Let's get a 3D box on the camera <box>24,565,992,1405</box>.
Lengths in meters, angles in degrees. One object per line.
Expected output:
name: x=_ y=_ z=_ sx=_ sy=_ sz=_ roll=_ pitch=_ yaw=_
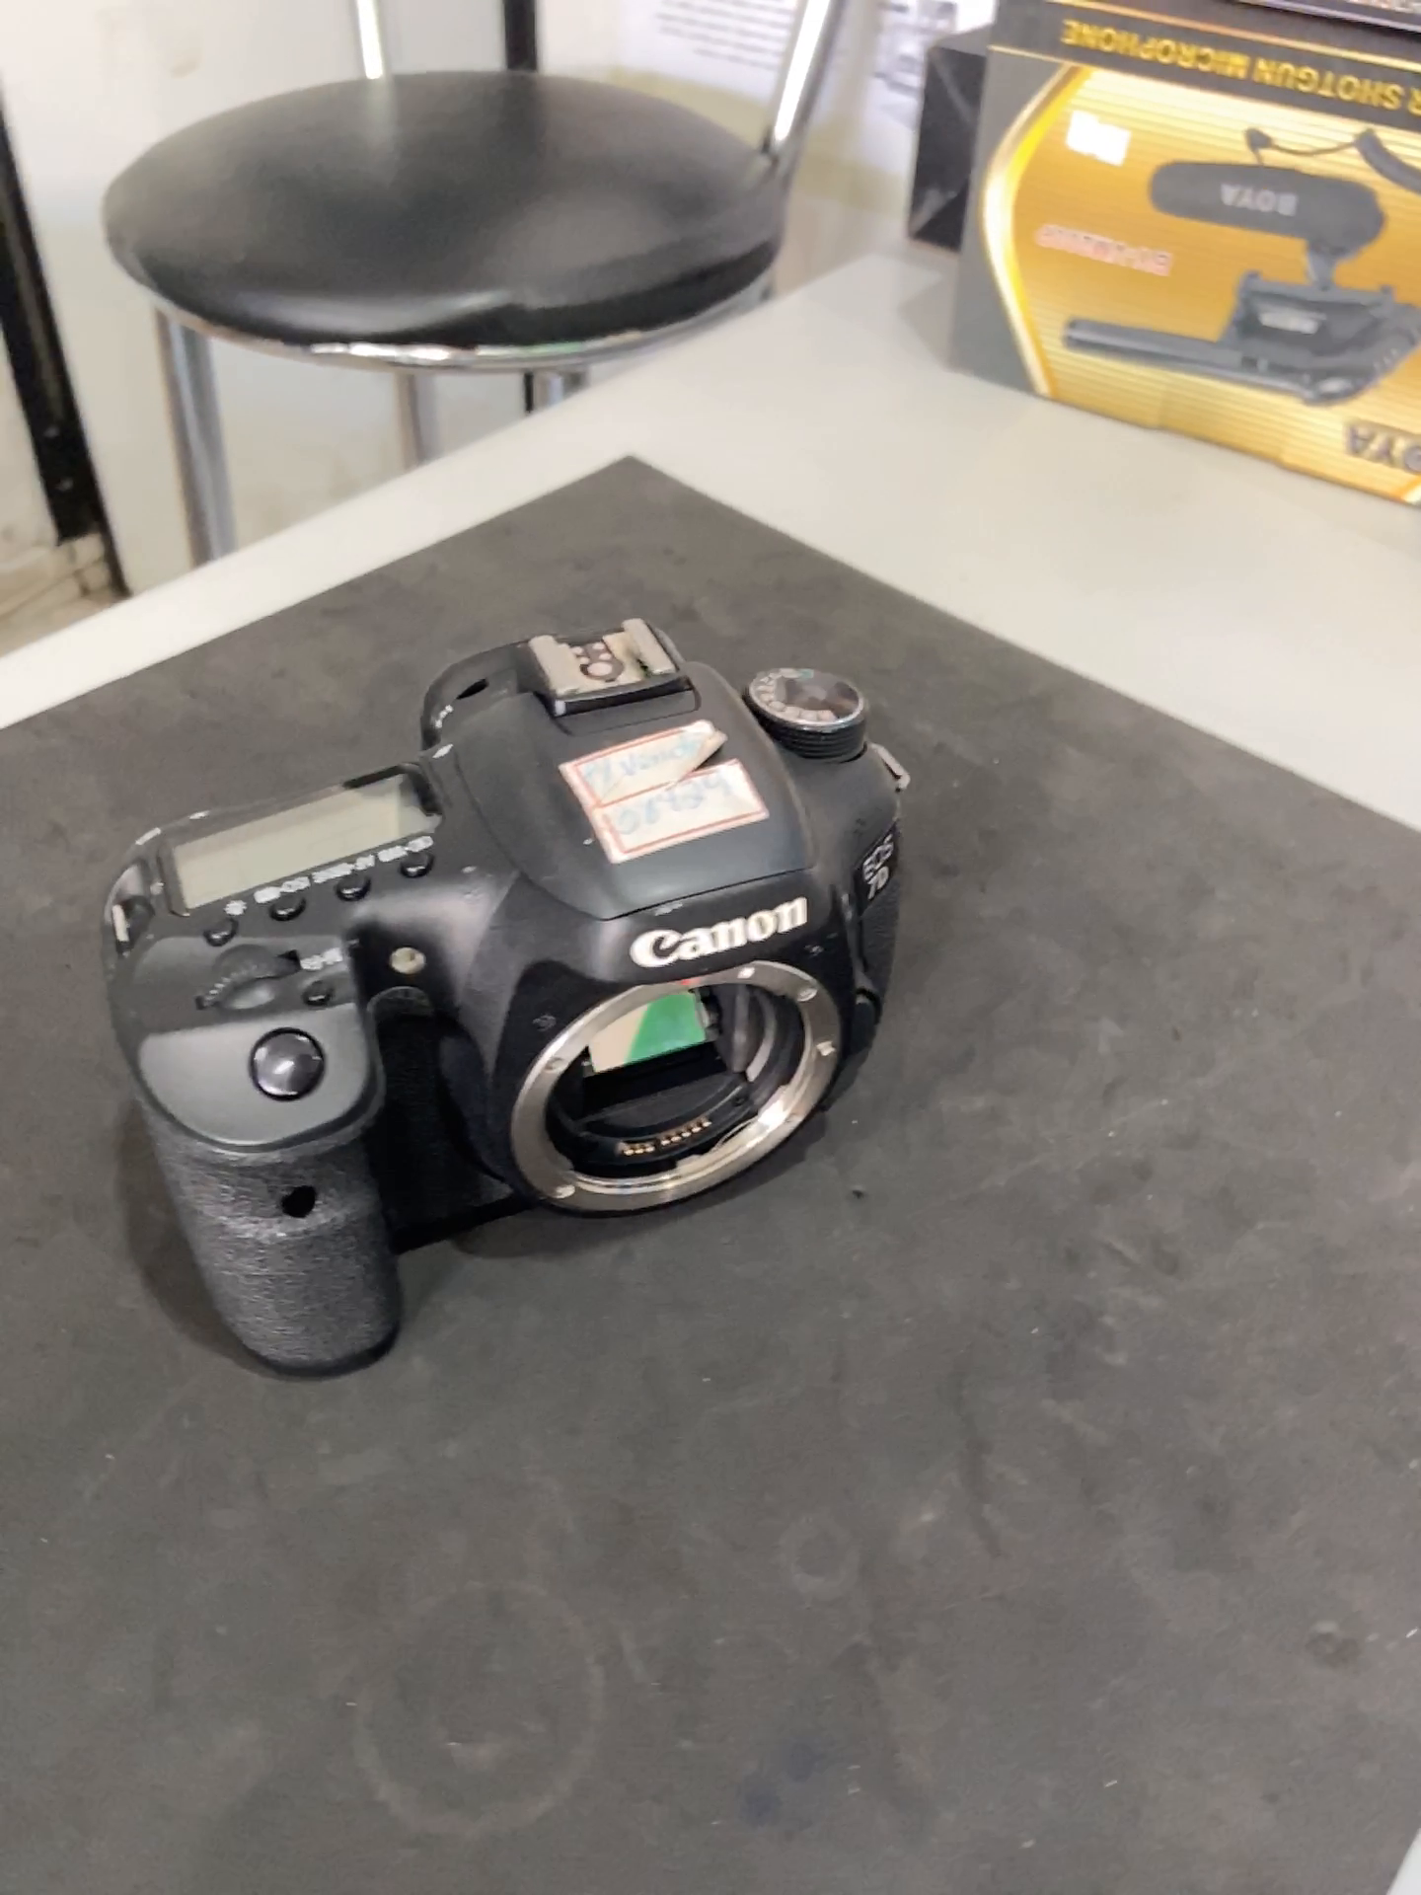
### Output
camera: x=-0.038 y=0.002 z=0.295 sx=0.152 sy=0.101 sz=0.083 roll=-17 pitch=46 yaw=-19
